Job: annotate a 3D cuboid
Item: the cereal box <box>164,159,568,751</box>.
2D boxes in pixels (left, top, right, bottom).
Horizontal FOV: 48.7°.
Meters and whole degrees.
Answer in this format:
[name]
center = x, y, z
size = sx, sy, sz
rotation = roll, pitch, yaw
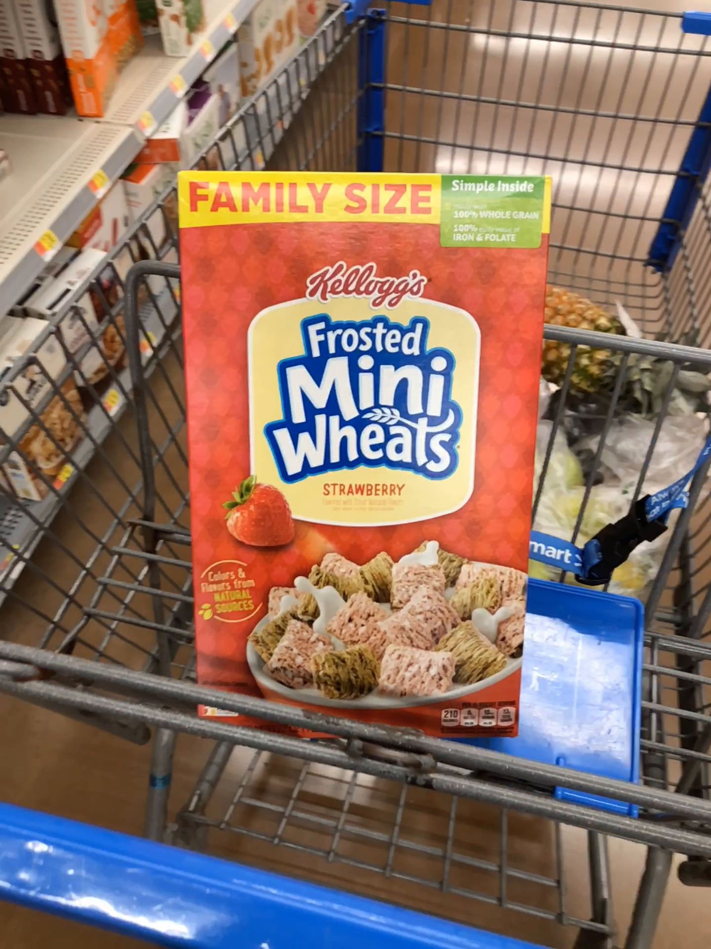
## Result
[cereal box]
center = 0.007, -0.006, 0.455
size = 0.200, 0.320, 0.070
rotation = -1, 11, -1
